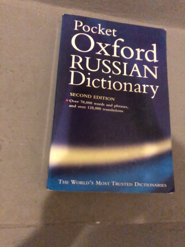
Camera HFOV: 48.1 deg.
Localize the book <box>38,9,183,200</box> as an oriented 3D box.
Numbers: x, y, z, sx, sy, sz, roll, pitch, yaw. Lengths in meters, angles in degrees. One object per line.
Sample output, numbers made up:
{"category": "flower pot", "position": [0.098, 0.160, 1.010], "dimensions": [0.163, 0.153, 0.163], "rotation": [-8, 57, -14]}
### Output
{"category": "book", "position": [0.023, -0.022, 0.231], "dimensions": [0.137, 0.032, 0.195], "rotation": [5, 76, -8]}
